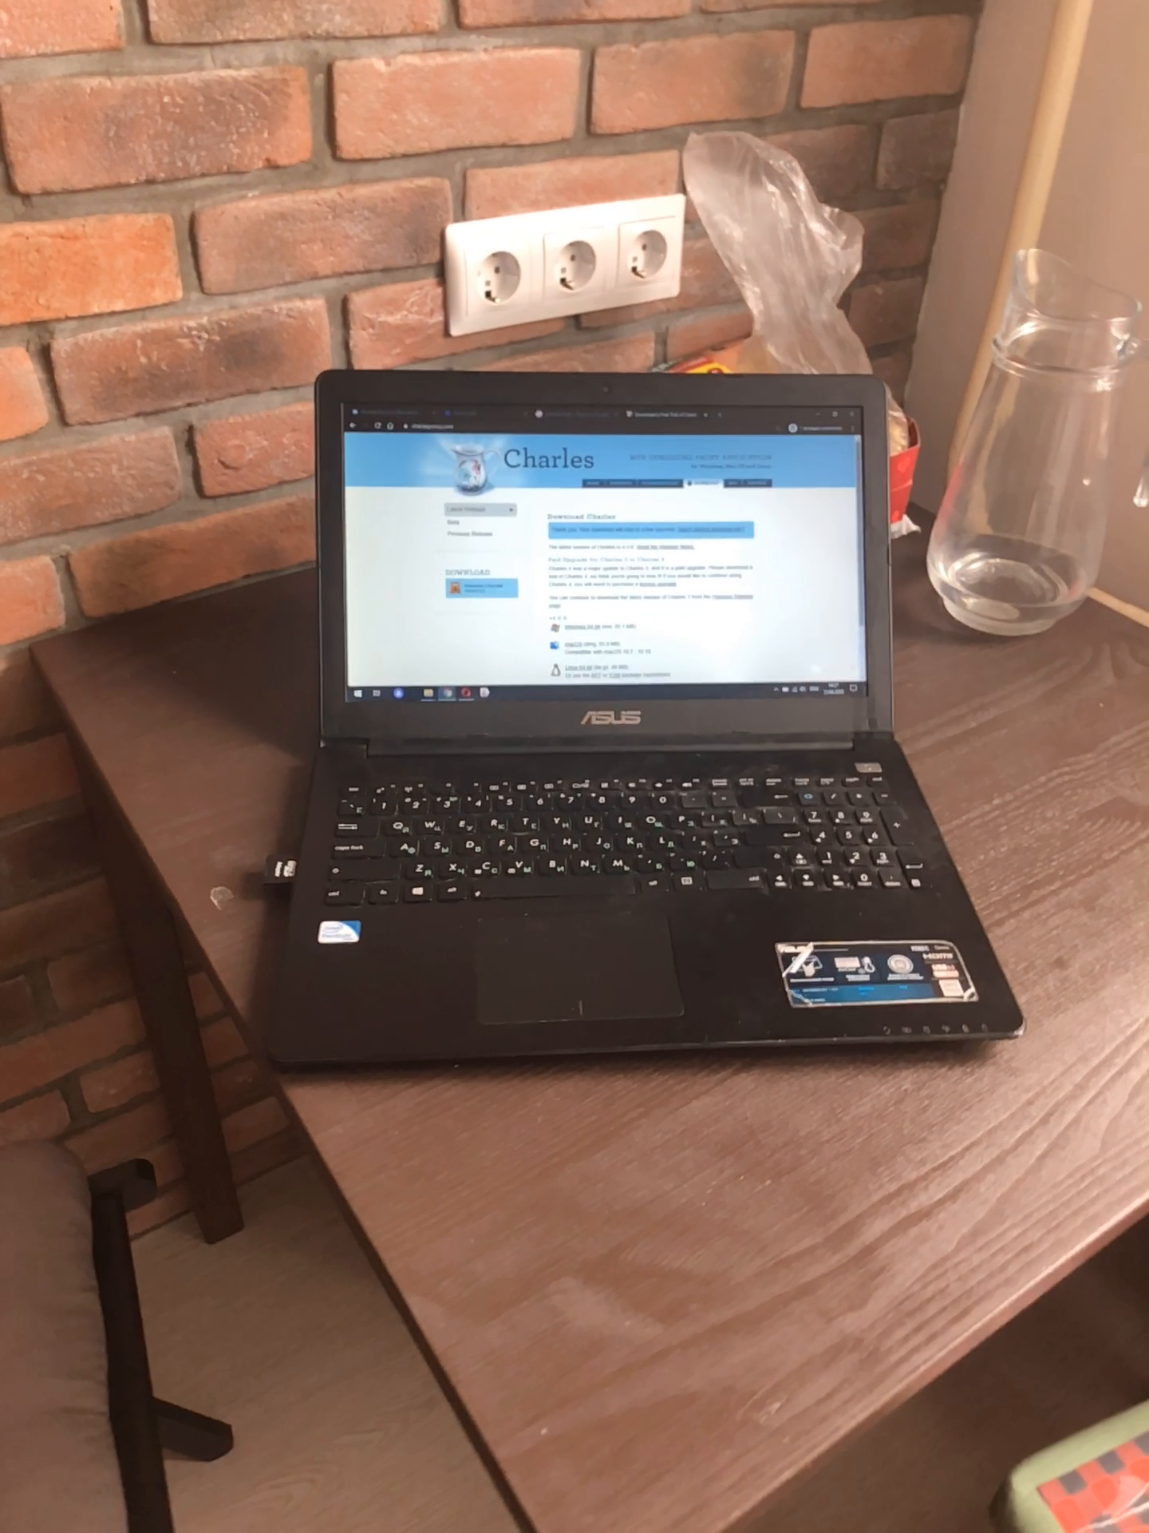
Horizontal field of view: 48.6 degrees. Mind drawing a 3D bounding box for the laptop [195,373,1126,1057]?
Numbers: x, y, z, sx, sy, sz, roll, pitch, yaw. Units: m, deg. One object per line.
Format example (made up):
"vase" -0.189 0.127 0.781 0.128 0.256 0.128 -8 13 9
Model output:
"laptop" 0.026 -0.060 0.721 0.372 0.186 0.401 -1 37 -4
